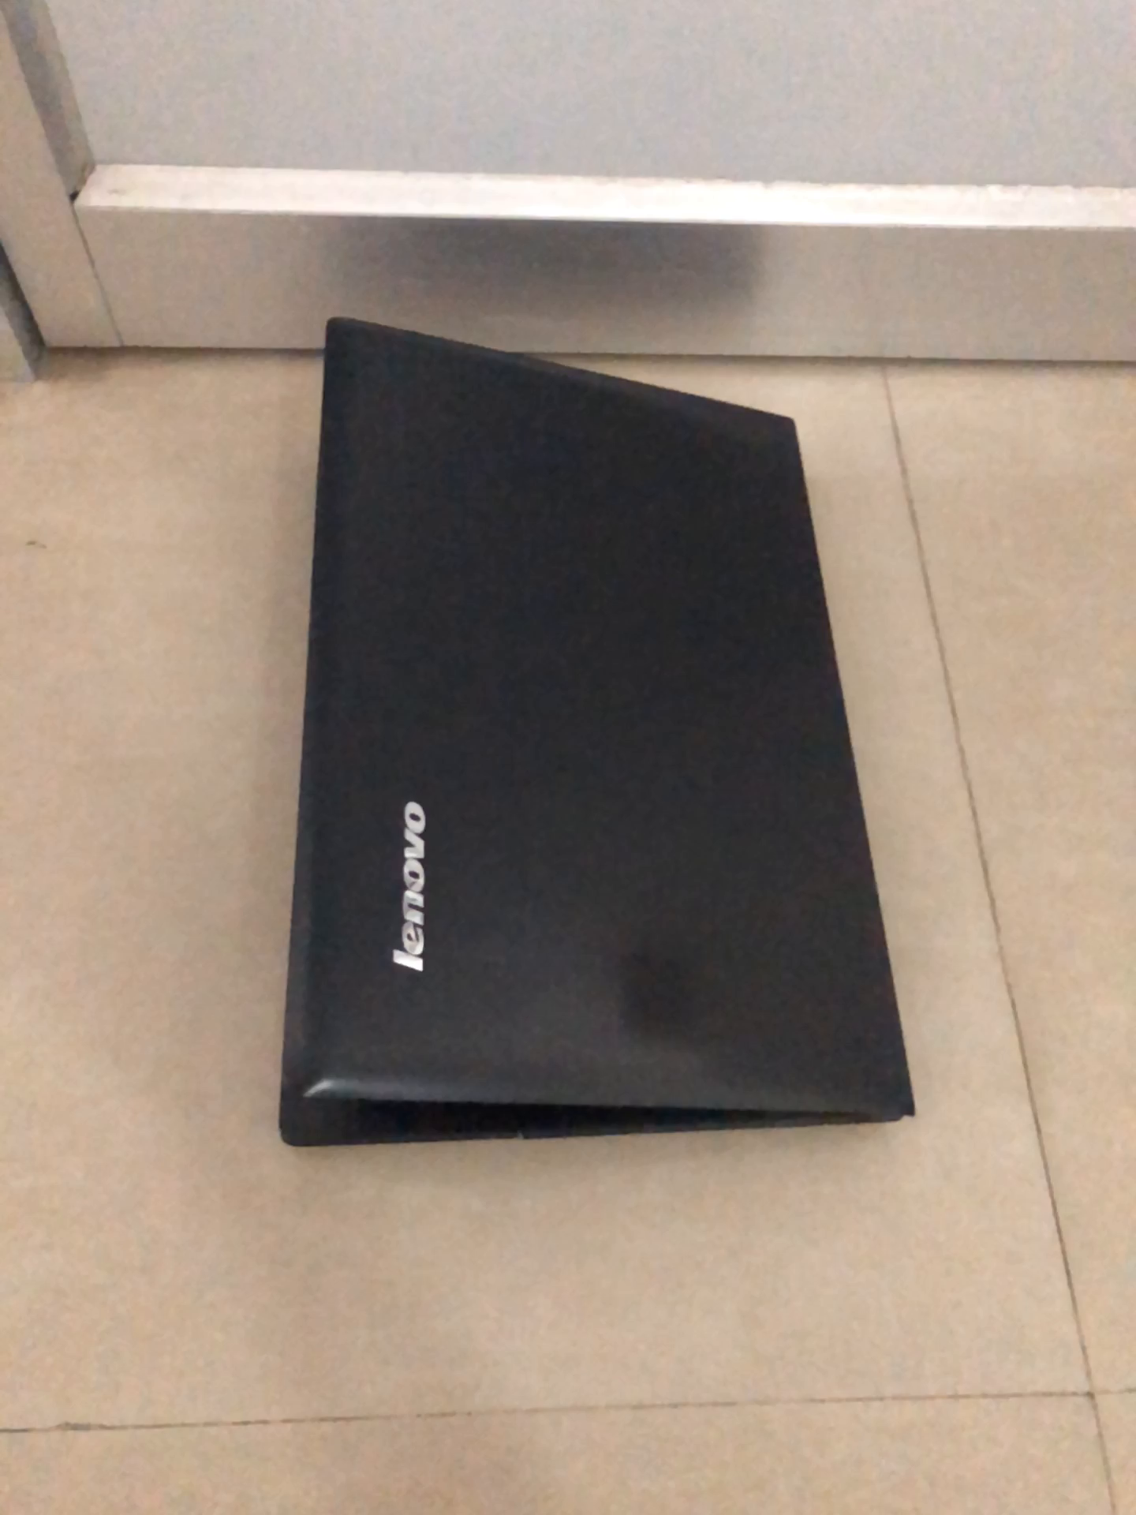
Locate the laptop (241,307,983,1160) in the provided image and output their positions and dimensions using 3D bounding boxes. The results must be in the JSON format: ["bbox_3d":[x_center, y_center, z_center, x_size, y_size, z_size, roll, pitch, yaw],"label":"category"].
[{"bbox_3d":[0.007,-0.030,0.561,0.257,0.097,0.368,-2,62,-5],"label":"laptop"}]
